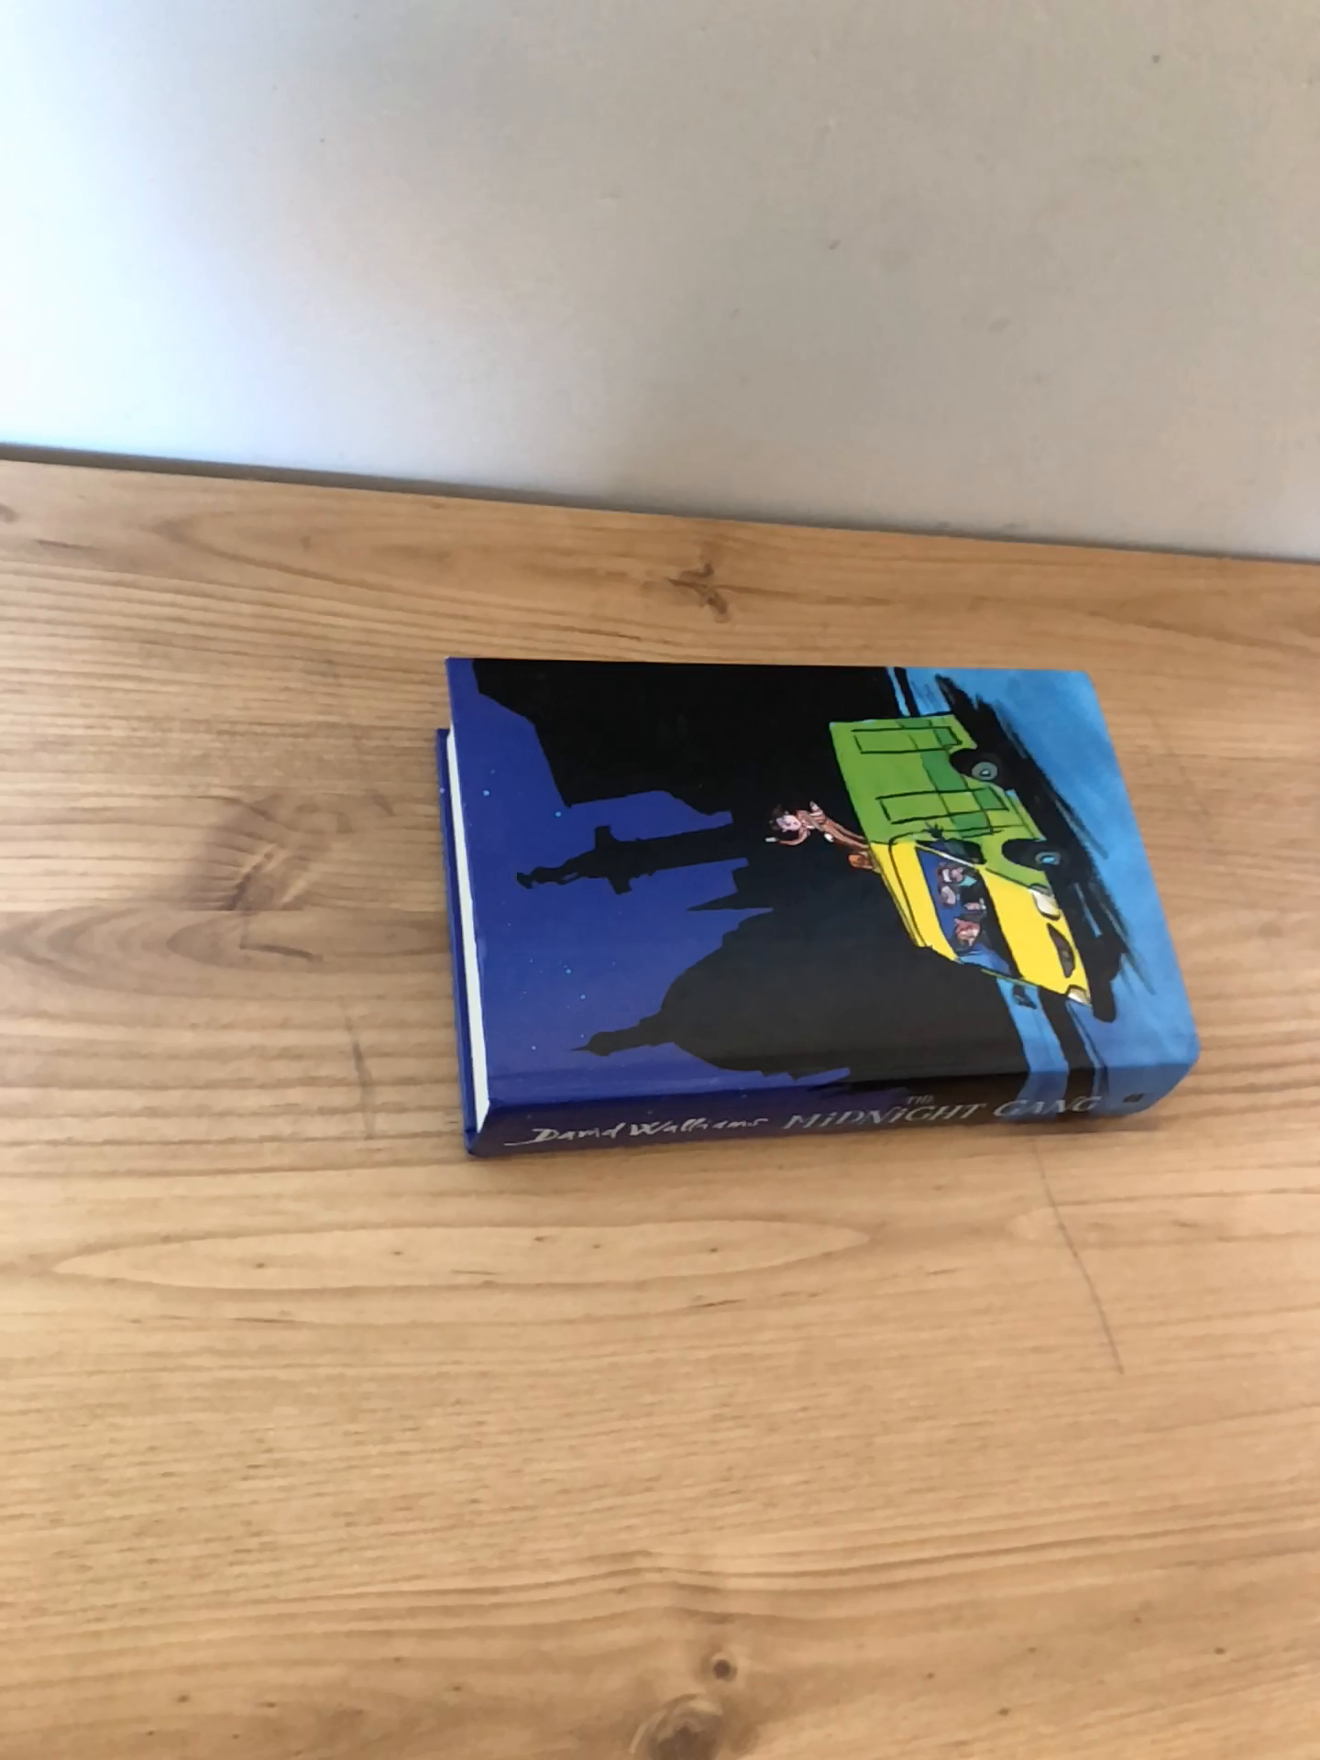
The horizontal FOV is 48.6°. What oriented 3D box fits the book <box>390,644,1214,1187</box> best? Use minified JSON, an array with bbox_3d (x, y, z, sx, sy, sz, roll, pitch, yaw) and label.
[{"bbox_3d":[0.040,0.007,0.475,0.237,0.060,0.153,-2,66,-16],"label":"book"}]
